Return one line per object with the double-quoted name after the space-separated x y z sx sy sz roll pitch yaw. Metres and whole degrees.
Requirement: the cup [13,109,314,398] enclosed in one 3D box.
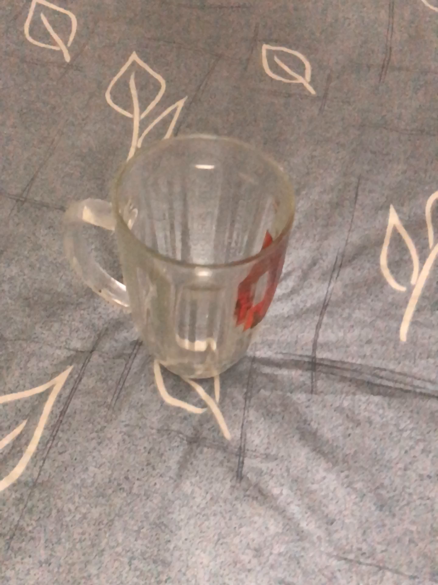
-0.023 -0.017 0.302 0.127 0.136 0.091 14 60 9 "cup"
